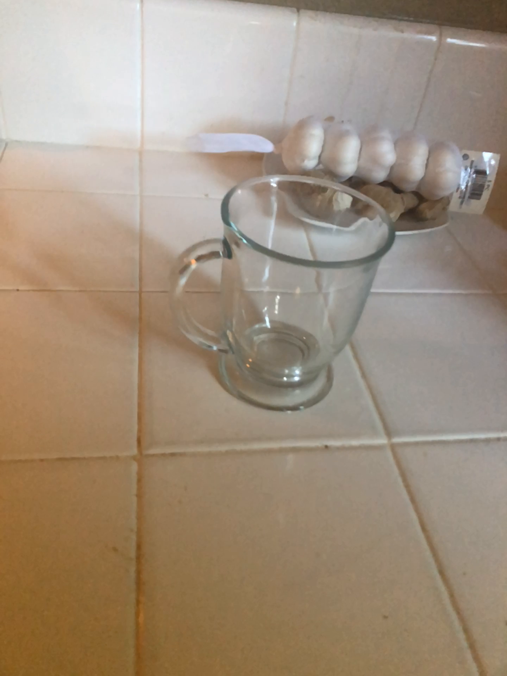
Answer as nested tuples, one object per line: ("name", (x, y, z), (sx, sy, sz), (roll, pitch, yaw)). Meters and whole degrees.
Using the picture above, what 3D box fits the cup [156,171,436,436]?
("cup", (0.012, -0.025, 0.347), (0.130, 0.119, 0.101), (-5, 44, -16))
